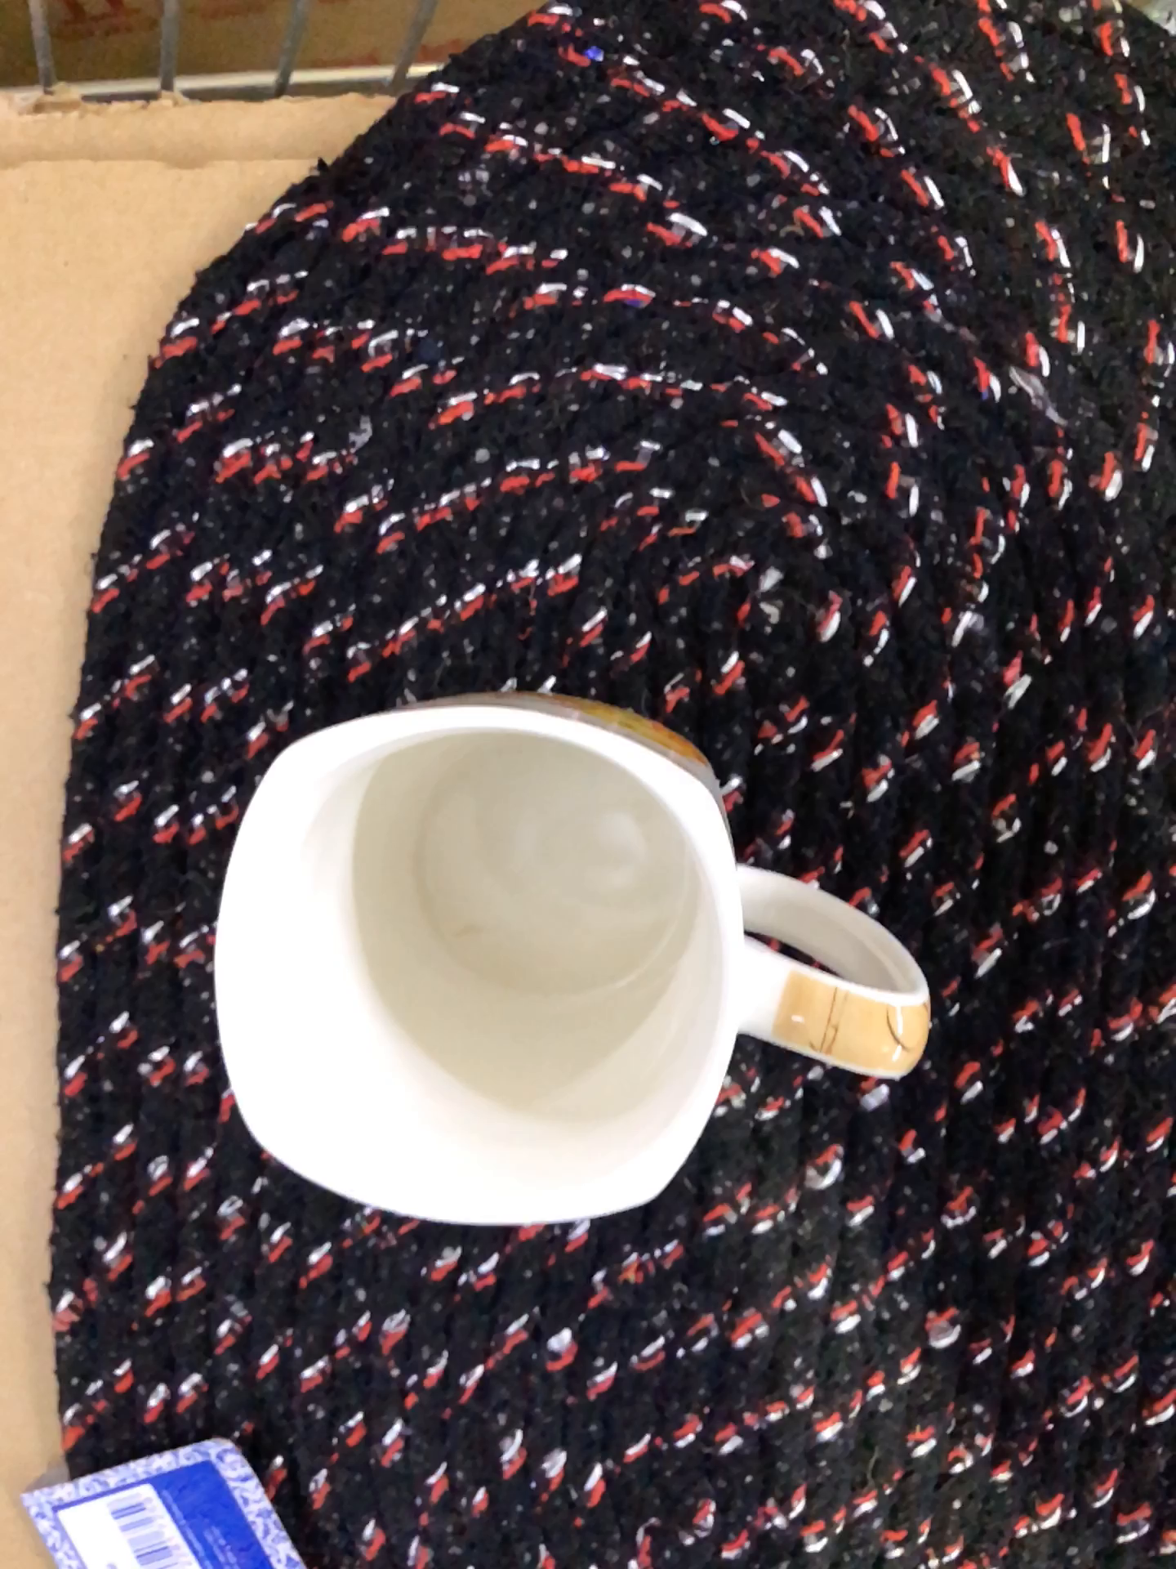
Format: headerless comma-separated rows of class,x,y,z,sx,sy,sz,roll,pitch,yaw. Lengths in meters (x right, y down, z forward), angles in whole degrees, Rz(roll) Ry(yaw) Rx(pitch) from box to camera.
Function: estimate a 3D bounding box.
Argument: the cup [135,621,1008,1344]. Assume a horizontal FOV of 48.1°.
cup,-0.001,0.025,0.233,0.120,0.080,0.090,8,95,8
